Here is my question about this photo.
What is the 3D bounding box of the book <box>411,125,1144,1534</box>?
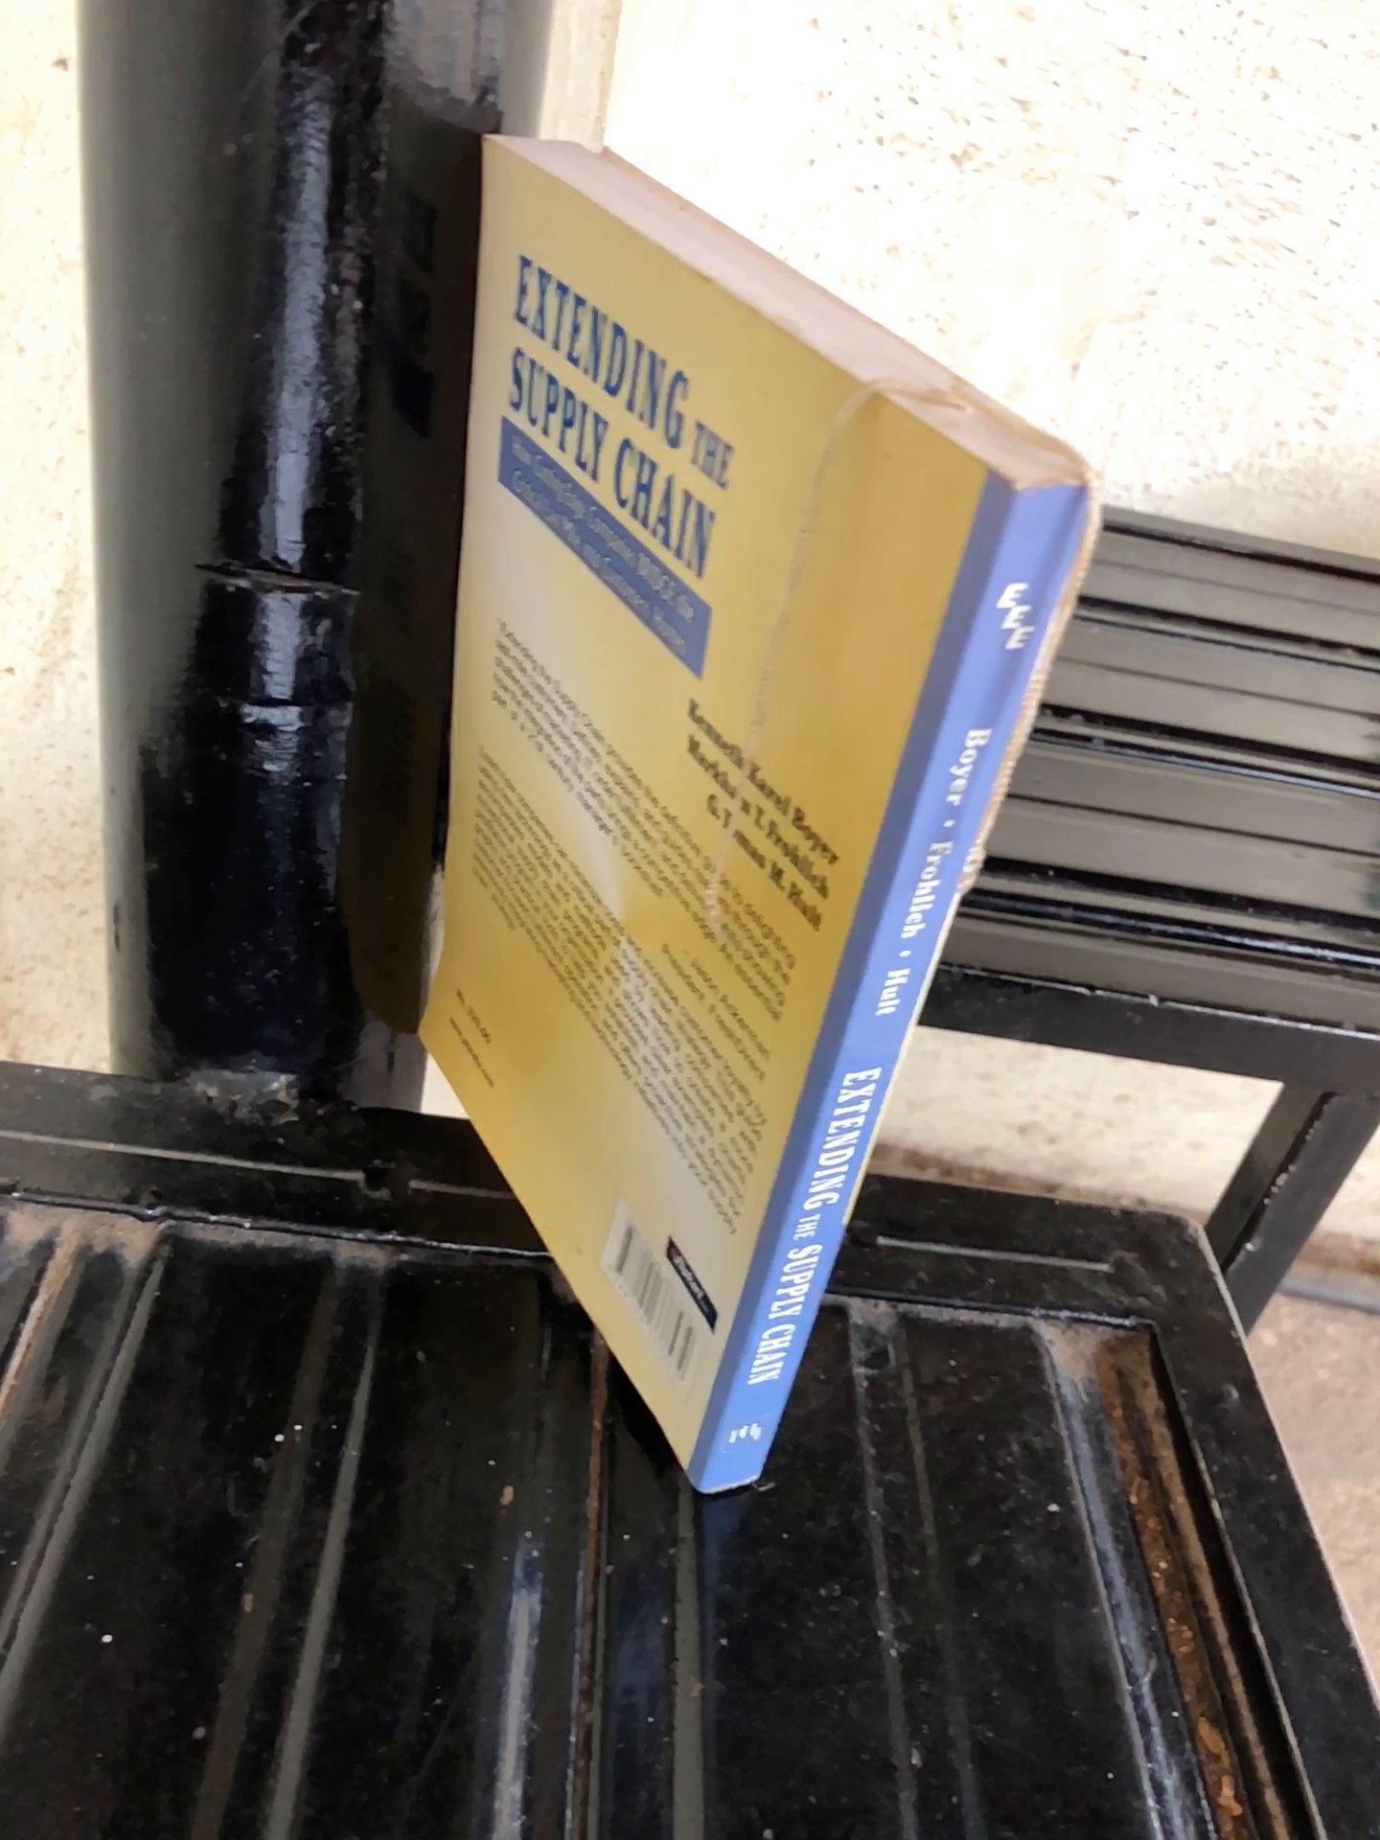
[{"bbox_3d":[-0.009,-0.011,0.302,0.030,0.229,0.150,-13,43,-28],"label":"book"}]
